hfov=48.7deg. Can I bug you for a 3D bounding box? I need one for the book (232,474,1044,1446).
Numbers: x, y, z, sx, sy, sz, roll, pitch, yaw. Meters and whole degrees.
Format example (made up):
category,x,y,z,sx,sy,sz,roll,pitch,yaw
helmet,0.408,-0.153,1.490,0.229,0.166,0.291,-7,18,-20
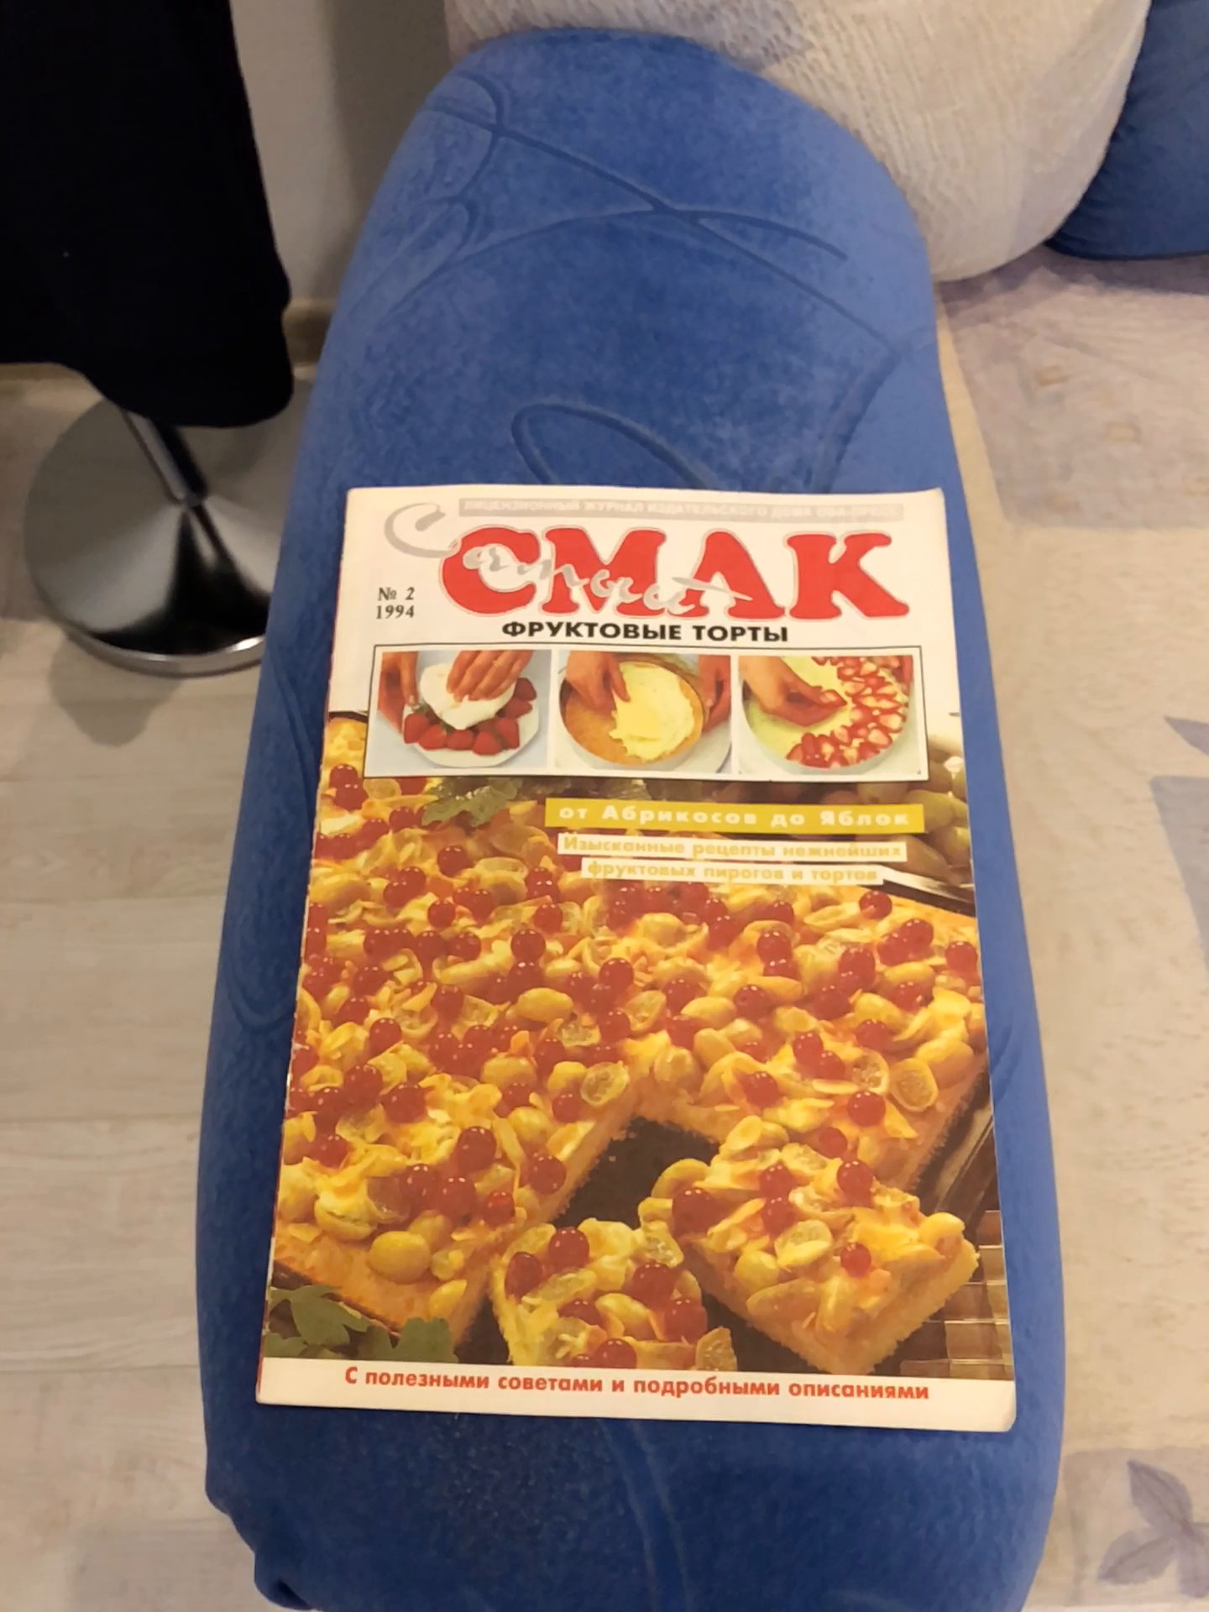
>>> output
category,x,y,z,sx,sy,sz,roll,pitch,yaw
book,0.010,0.023,0.327,0.171,0.010,0.236,1,70,3
